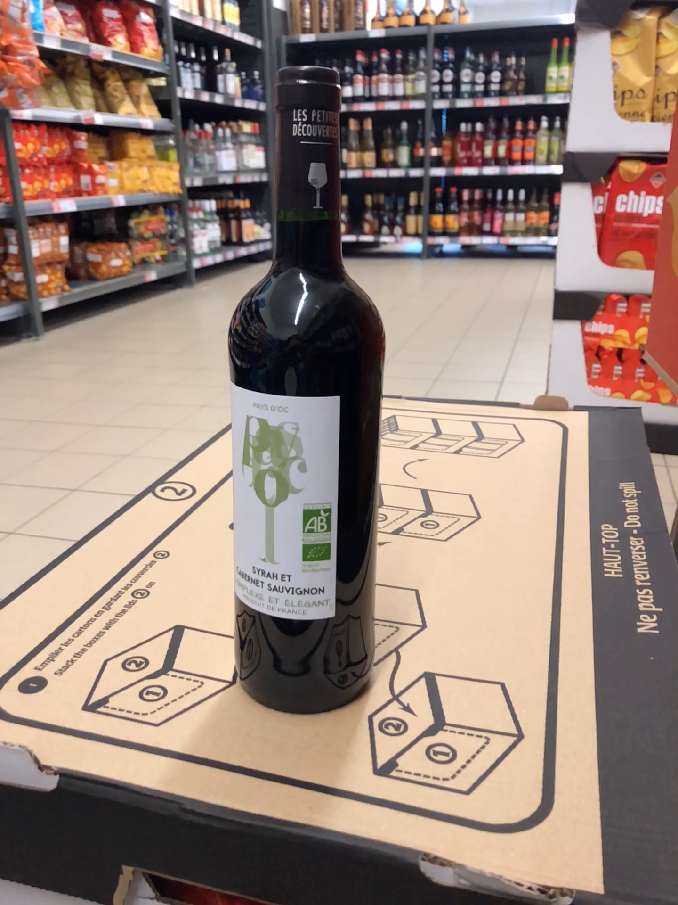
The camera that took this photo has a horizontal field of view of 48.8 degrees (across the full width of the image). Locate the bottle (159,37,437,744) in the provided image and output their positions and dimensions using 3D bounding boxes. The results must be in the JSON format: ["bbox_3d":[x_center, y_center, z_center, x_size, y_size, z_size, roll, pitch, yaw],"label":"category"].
[{"bbox_3d":[-0.014,-0.021,0.361,0.090,0.299,0.080,8,20,24],"label":"bottle"}]
